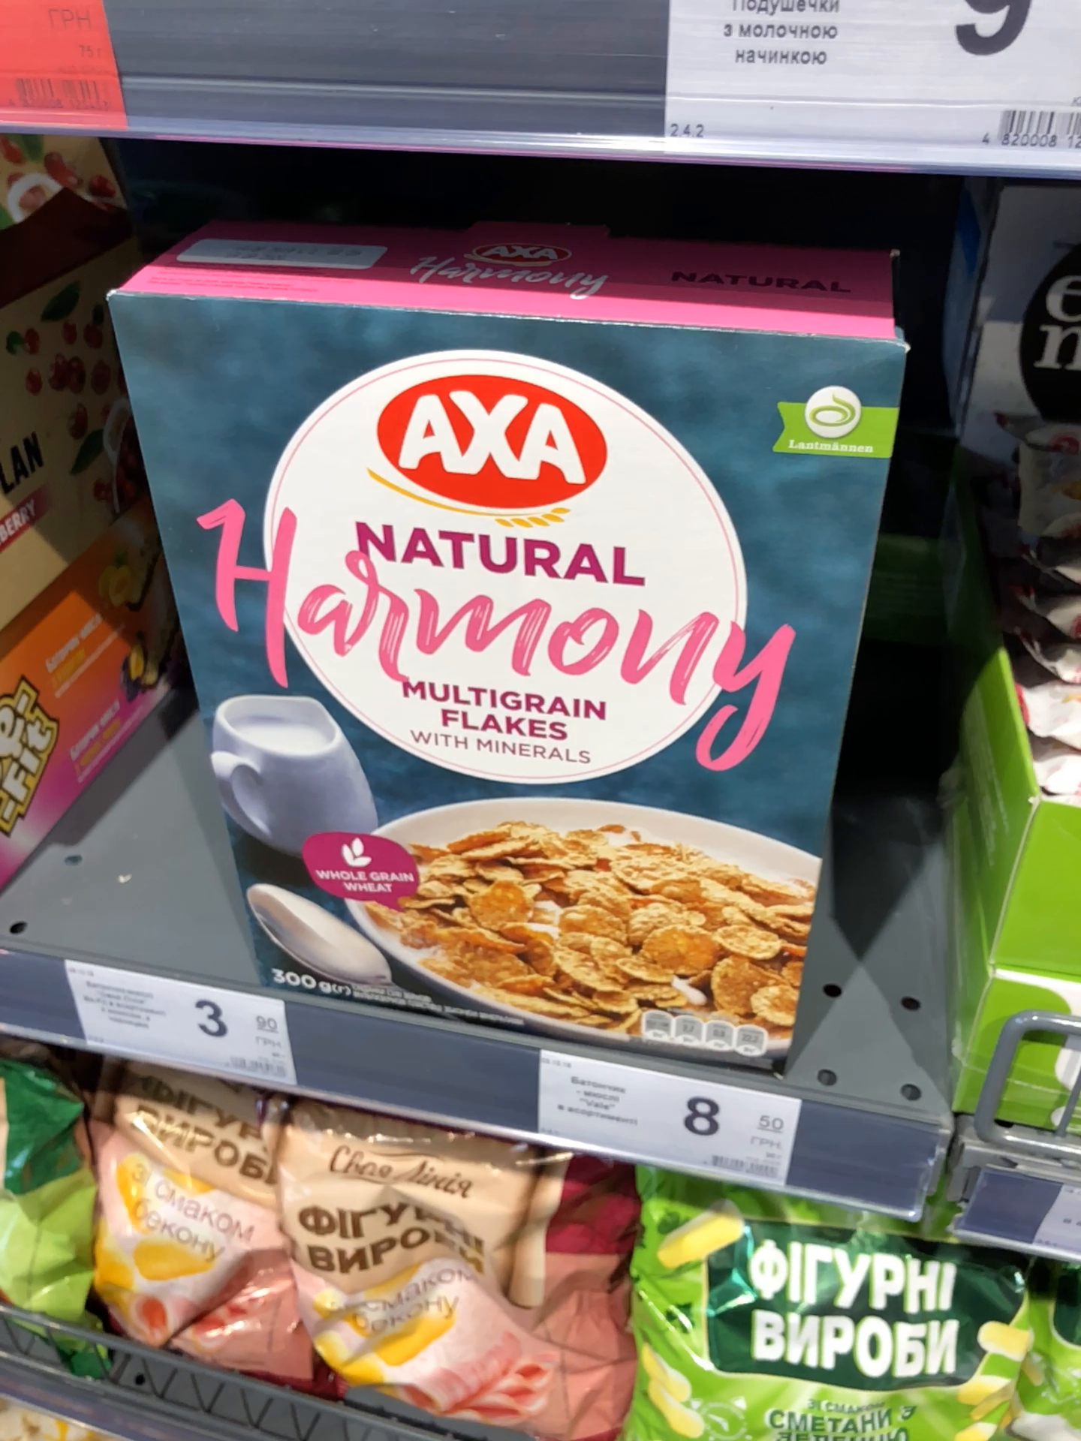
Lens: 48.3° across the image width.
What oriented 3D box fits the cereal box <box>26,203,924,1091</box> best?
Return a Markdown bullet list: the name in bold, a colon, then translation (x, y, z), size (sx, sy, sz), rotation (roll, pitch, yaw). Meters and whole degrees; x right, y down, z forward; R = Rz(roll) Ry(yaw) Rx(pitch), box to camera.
- **cereal box**: translation (-0.009, -0.012, 0.326), size (0.180, 0.218, 0.071), rotation (7, 38, 11)
